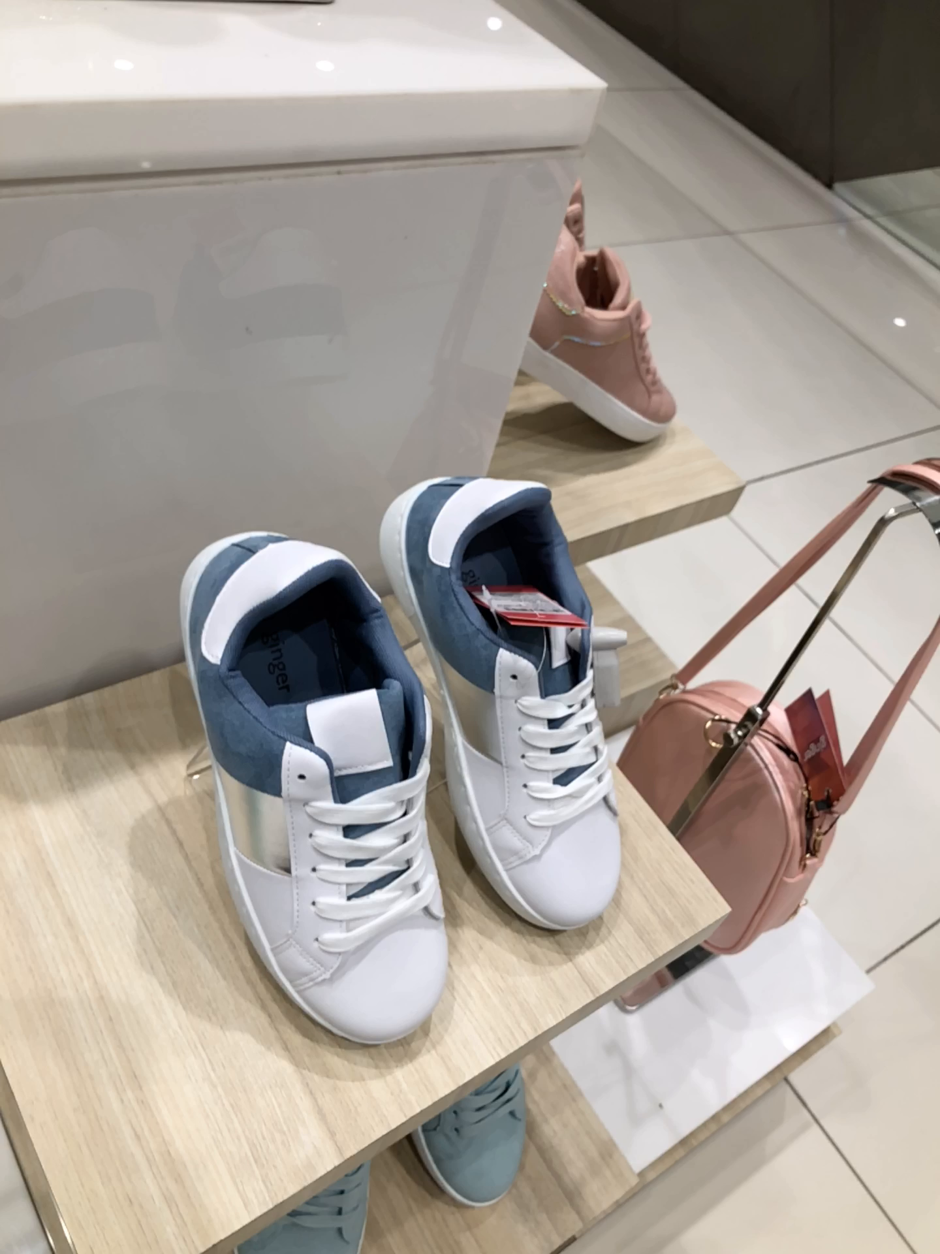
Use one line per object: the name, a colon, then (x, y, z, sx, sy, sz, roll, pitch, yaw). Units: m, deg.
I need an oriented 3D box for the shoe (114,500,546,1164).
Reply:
shoe: (-0.061, 0.083, 0.473, 0.092, 0.260, 0.103, -23, 16, -34)

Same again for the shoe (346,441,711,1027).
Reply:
shoe: (0.033, 0.047, 0.541, 0.102, 0.262, 0.103, -20, 15, -32)
